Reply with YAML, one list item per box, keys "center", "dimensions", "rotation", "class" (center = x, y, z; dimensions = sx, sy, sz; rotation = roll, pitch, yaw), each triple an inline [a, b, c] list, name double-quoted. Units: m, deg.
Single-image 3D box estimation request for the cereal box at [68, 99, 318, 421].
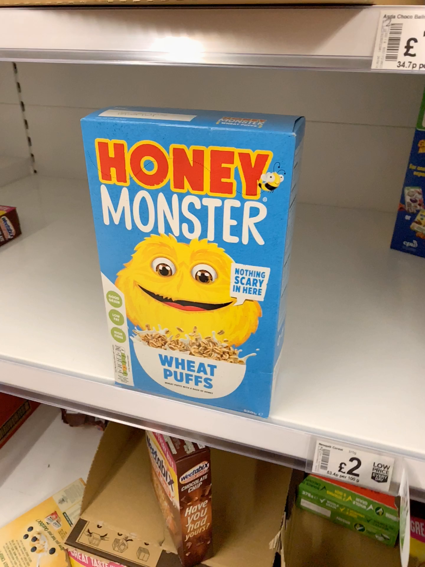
- center: [-0.014, -0.022, 0.454]
  dimensions: [0.200, 0.297, 0.091]
  rotation: [9, 30, 15]
  class: "cereal box"
